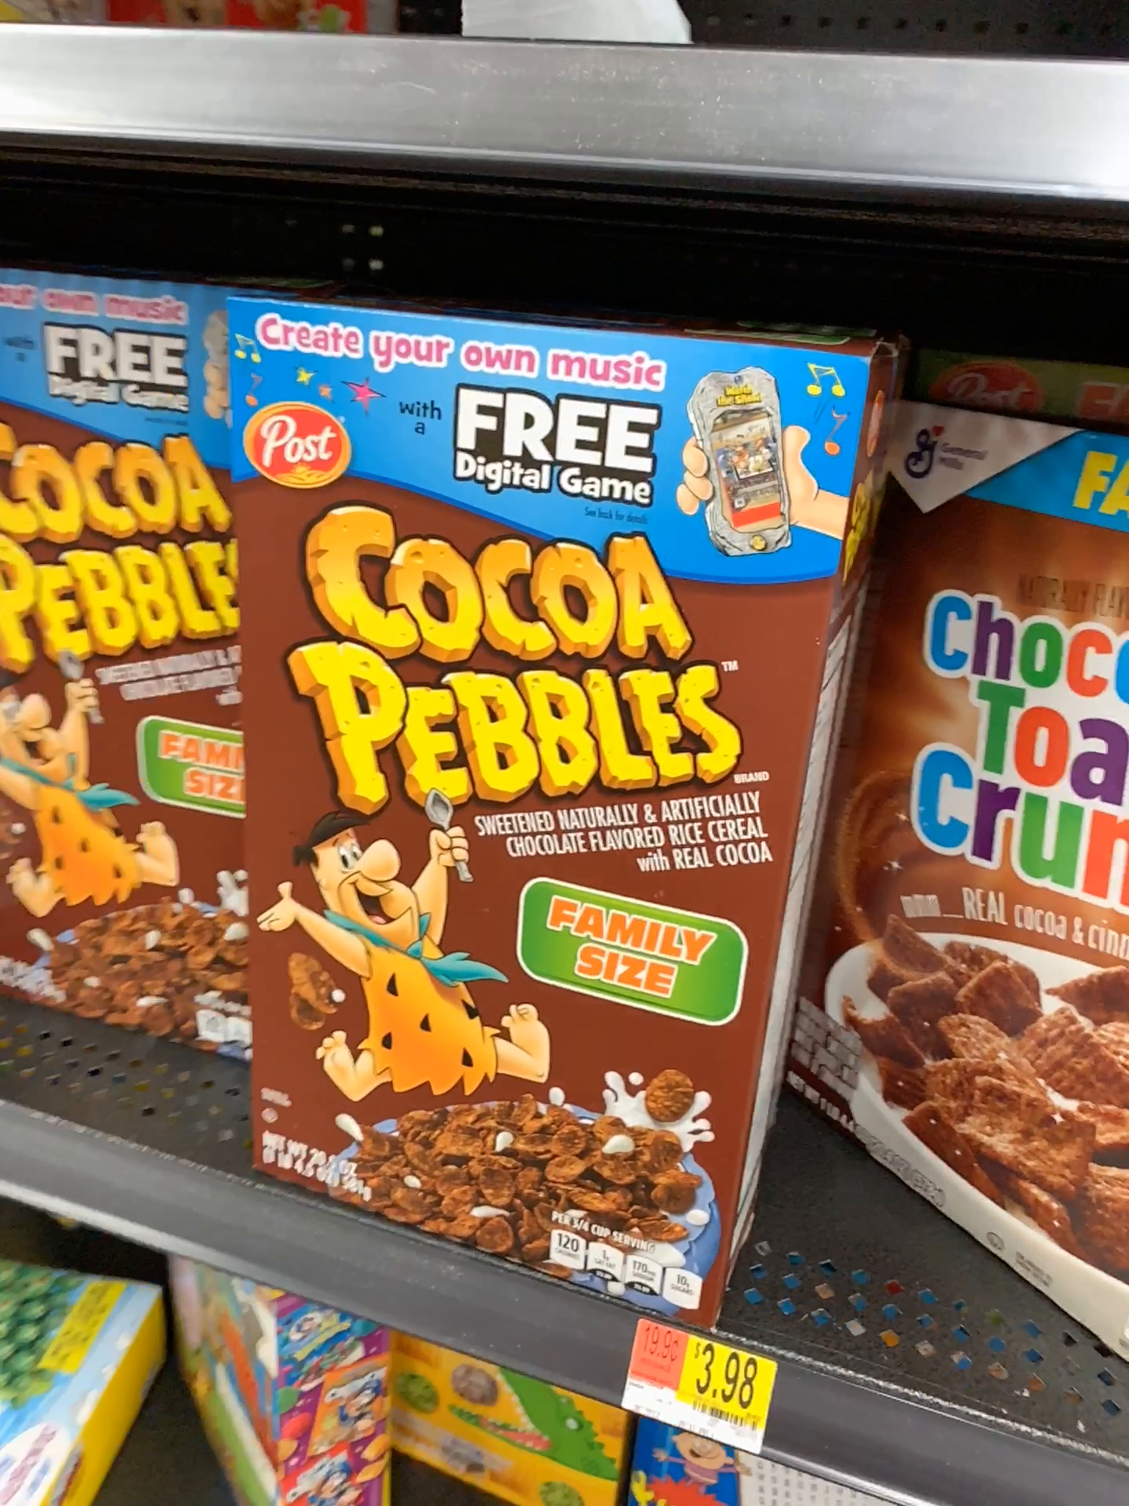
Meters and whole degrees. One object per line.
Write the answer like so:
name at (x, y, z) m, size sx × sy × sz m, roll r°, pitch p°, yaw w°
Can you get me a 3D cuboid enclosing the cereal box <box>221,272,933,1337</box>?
cereal box at (-0.011, 0.021, 0.401) m, size 0.200 × 0.329 × 0.060 m, roll 12°, pitch 23°, yaw 17°
